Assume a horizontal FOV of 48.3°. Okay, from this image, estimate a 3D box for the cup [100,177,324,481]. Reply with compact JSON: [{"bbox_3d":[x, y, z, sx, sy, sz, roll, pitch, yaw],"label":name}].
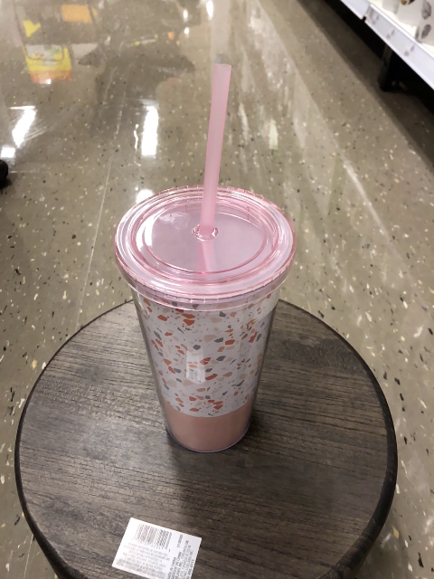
[{"bbox_3d":[-0.008,0.027,0.296,0.090,0.149,0.090,0,43,0],"label":"cup"}]
